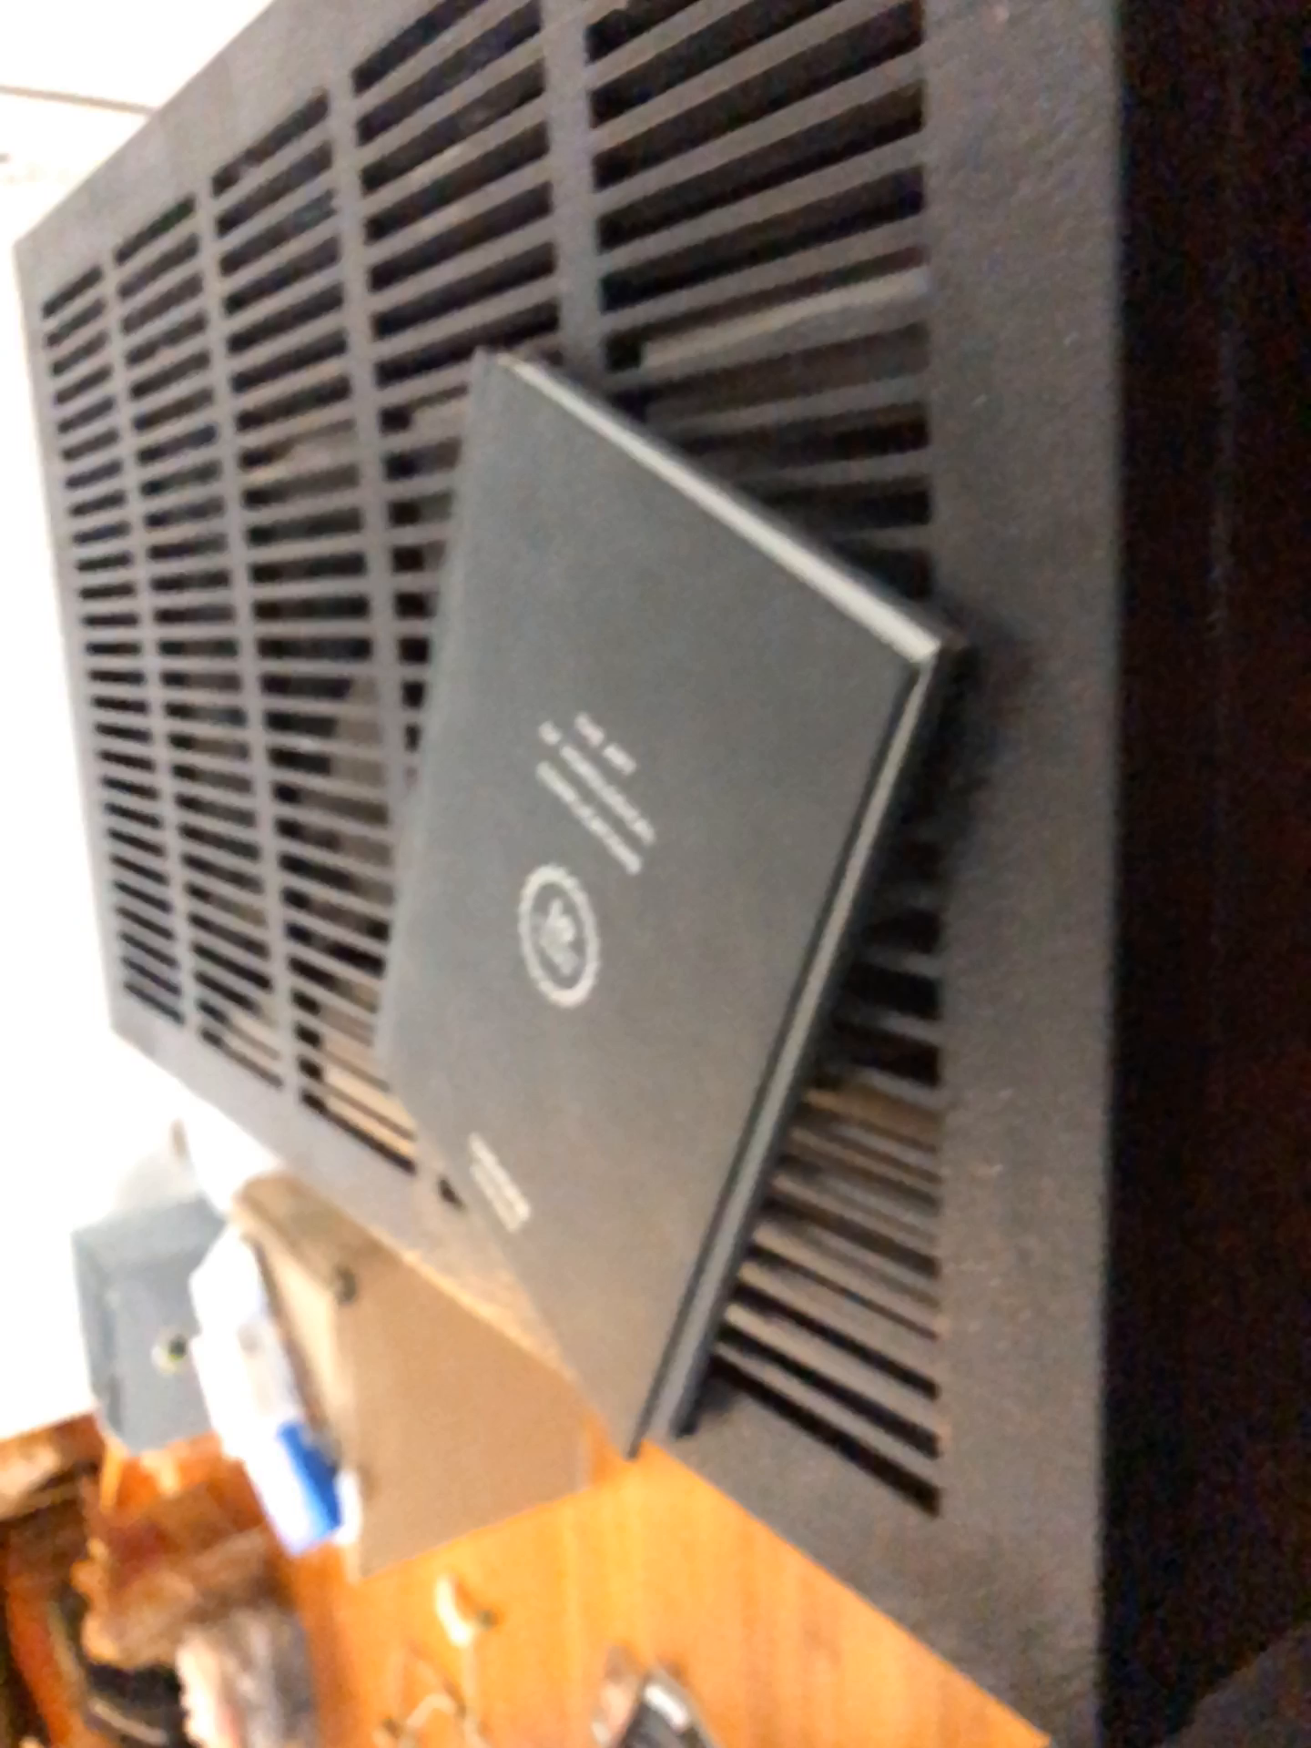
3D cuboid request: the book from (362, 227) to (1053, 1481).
[{"bbox_3d":[-0.014,0.000,0.353,0.161,0.020,0.250,46,133,40],"label":"book"}]
